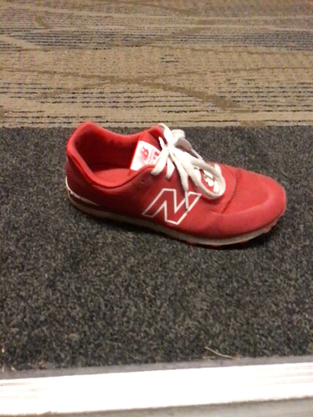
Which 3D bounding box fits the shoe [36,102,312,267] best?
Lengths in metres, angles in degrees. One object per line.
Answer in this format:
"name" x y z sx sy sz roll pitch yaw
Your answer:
"shoe" 0.020 -0.029 0.380 0.256 0.107 0.101 9 47 6
